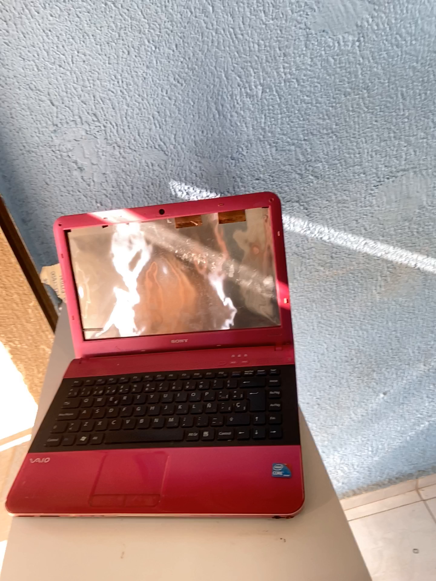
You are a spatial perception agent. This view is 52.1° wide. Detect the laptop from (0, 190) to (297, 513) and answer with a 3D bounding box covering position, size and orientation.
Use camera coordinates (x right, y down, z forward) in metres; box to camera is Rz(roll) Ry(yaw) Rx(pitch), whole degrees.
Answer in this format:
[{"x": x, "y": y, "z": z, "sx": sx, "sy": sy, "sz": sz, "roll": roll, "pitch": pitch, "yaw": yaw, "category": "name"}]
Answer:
[{"x": -0.082, "y": 0.056, "z": 0.563, "sx": 0.330, "sy": 0.187, "sz": 0.341, "roll": -5, "pitch": 36, "yaw": 11, "category": "laptop"}]
